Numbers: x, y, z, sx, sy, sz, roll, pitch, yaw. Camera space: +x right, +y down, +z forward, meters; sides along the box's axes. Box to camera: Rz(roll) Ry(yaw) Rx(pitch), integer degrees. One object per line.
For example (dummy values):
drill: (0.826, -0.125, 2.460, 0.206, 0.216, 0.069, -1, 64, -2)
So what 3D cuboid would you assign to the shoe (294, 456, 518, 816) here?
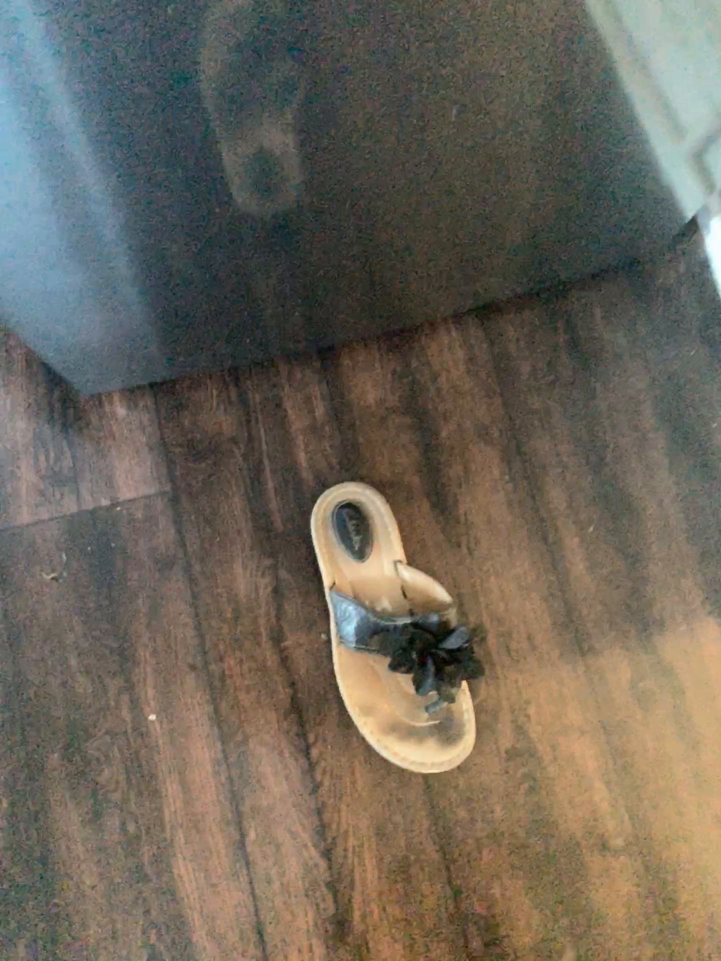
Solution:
shoe: (0.031, 0.117, 0.585, 0.110, 0.050, 0.250, -14, 80, -5)
